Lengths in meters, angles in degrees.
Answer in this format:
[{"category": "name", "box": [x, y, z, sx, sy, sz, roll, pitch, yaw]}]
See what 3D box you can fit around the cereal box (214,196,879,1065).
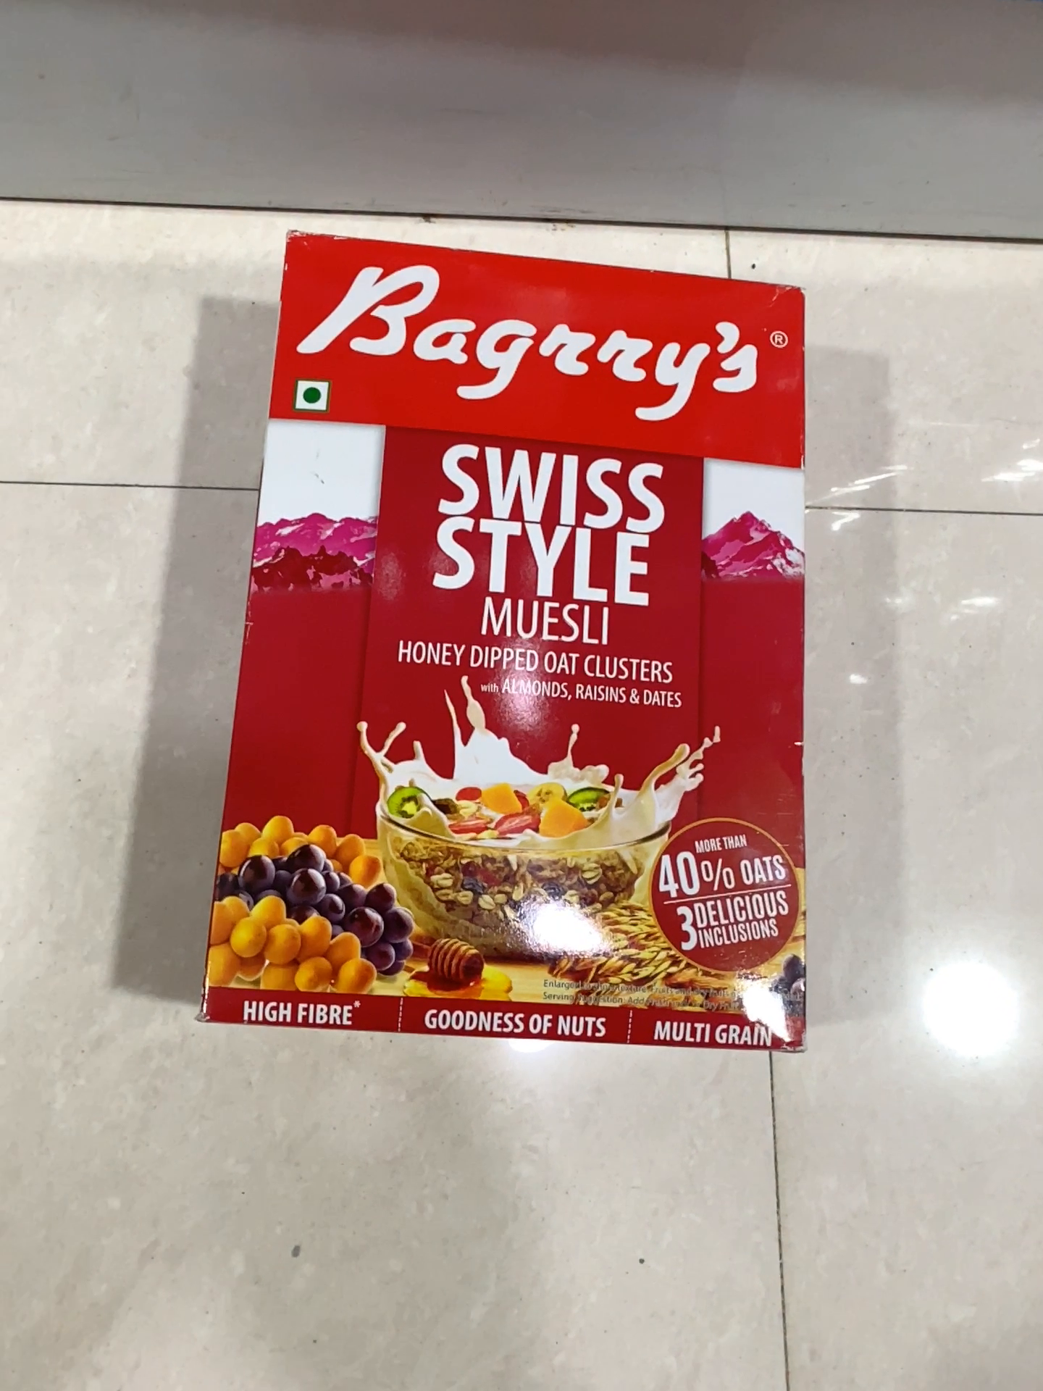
[{"category": "cereal box", "box": [0.014, -0.020, 0.369, 0.190, 0.080, 0.260, 5, 78, -5]}]
